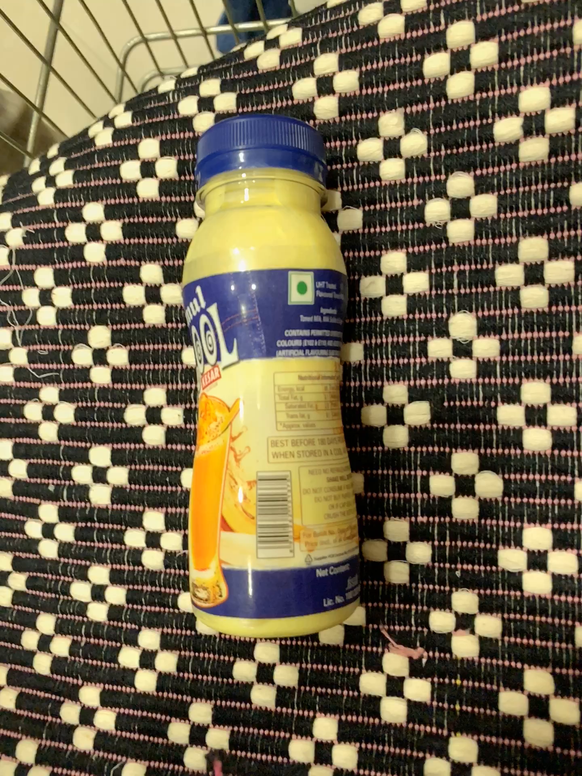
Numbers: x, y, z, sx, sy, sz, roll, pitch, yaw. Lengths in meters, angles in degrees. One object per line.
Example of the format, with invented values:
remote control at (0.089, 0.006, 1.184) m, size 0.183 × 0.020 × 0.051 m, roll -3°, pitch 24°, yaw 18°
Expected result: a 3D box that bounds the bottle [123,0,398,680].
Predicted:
bottle at (-0.012, -0.012, 0.179) m, size 0.060 × 0.060 × 0.160 m, roll 2°, pitch 85°, yaw -26°
